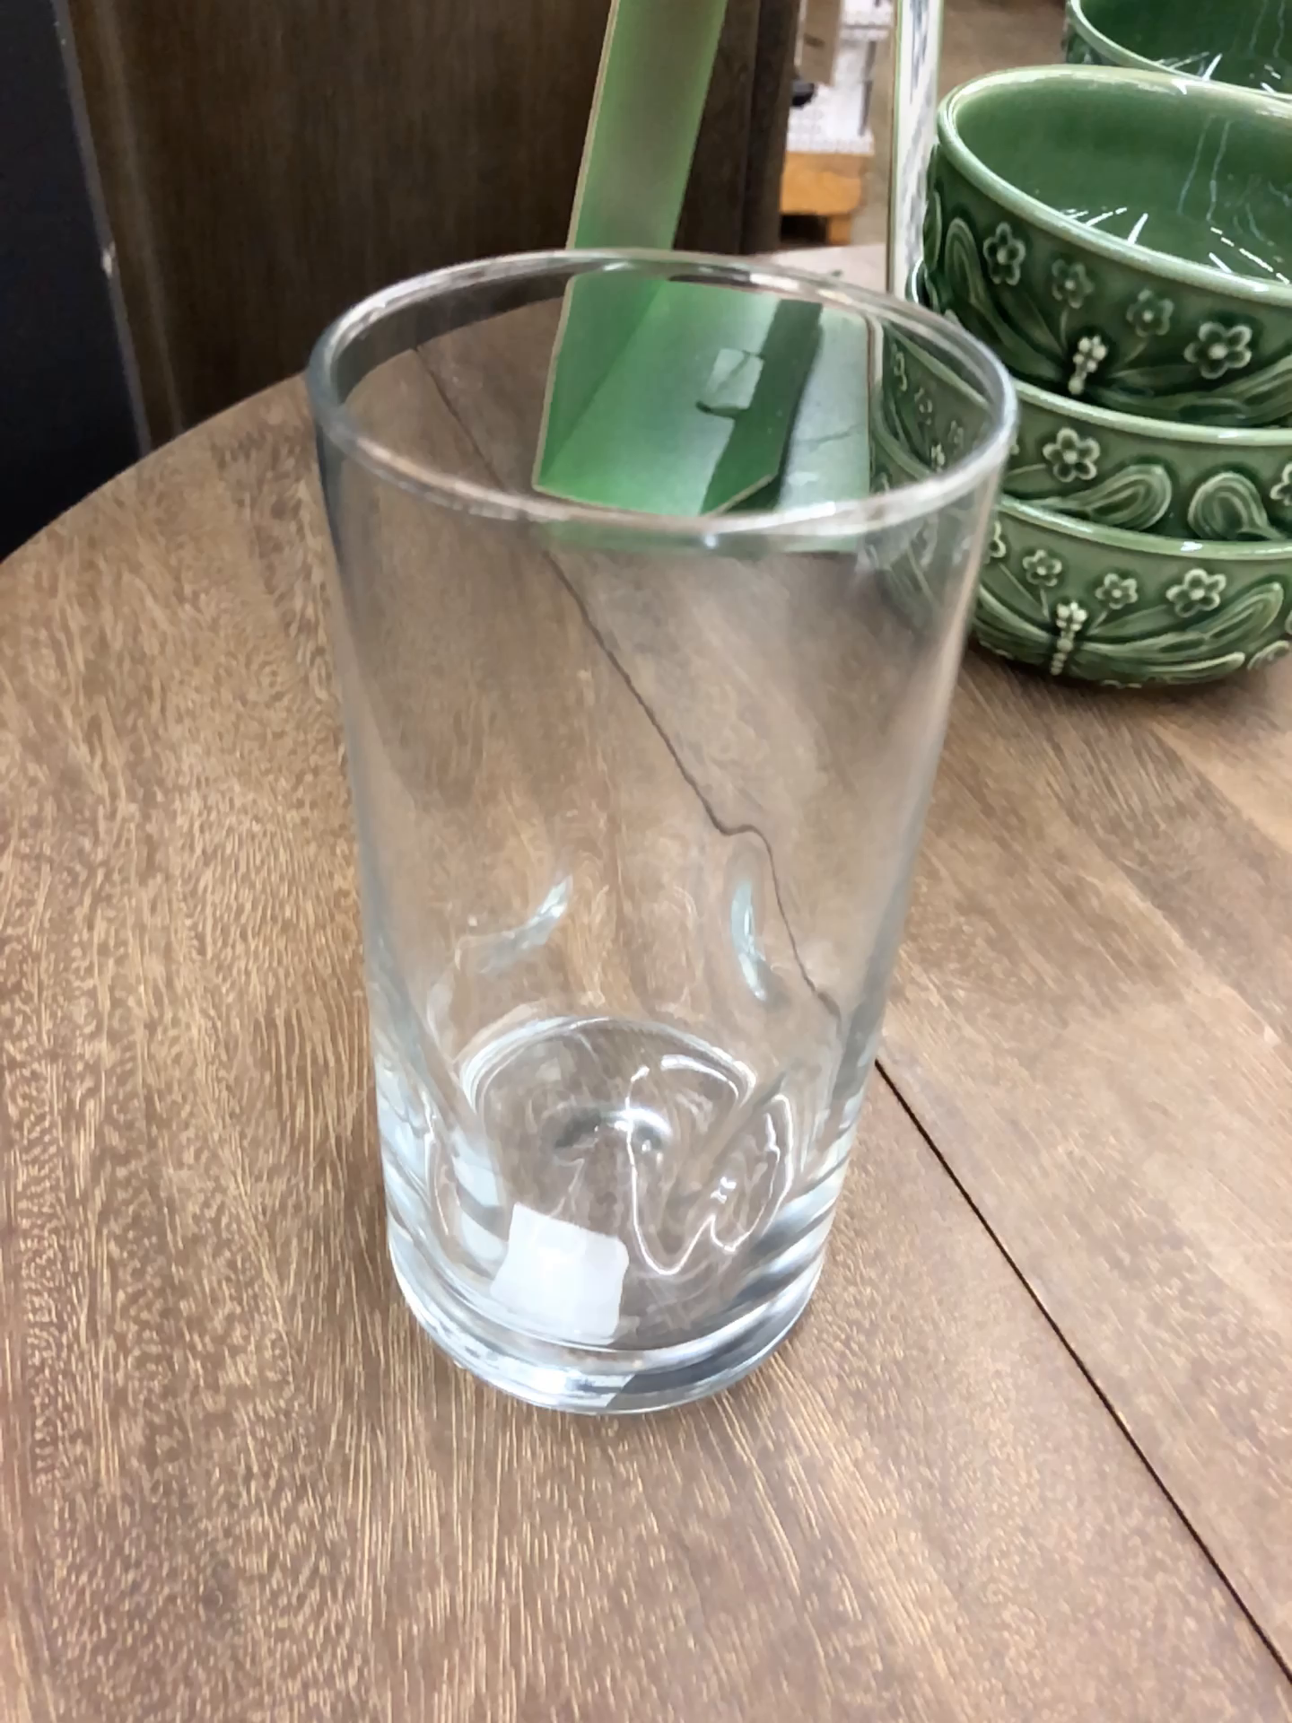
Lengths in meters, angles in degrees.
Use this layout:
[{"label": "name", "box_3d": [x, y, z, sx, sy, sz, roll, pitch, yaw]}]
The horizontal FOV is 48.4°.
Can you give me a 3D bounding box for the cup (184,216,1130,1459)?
[{"label": "cup", "box_3d": [-0.001, 0.003, 0.195, 0.078, 0.144, 0.082, 2, 39, -2]}]
